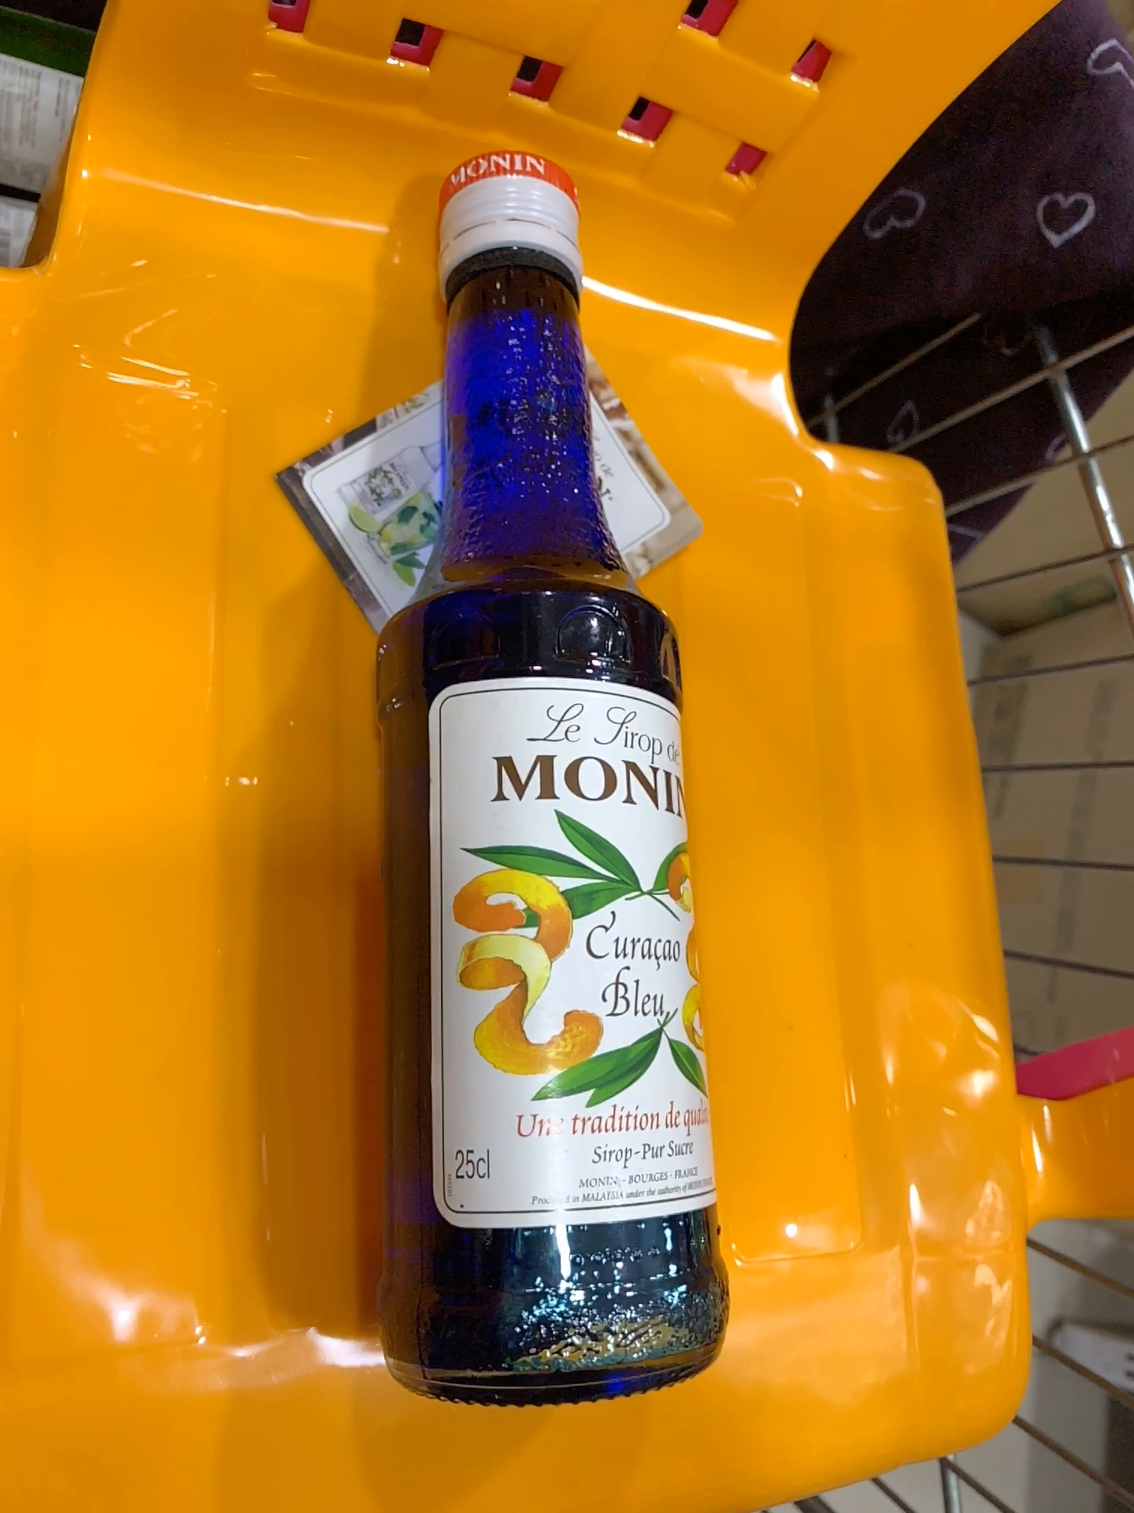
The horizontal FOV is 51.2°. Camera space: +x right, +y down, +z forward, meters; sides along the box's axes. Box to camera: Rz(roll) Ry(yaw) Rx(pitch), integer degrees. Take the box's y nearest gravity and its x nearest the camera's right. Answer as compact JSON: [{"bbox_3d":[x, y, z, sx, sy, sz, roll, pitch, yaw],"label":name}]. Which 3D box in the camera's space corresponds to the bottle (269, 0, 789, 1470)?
[{"bbox_3d":[-0.009,-0.014,0.202,0.060,0.050,0.220,8,73,-32],"label":"bottle"}]
